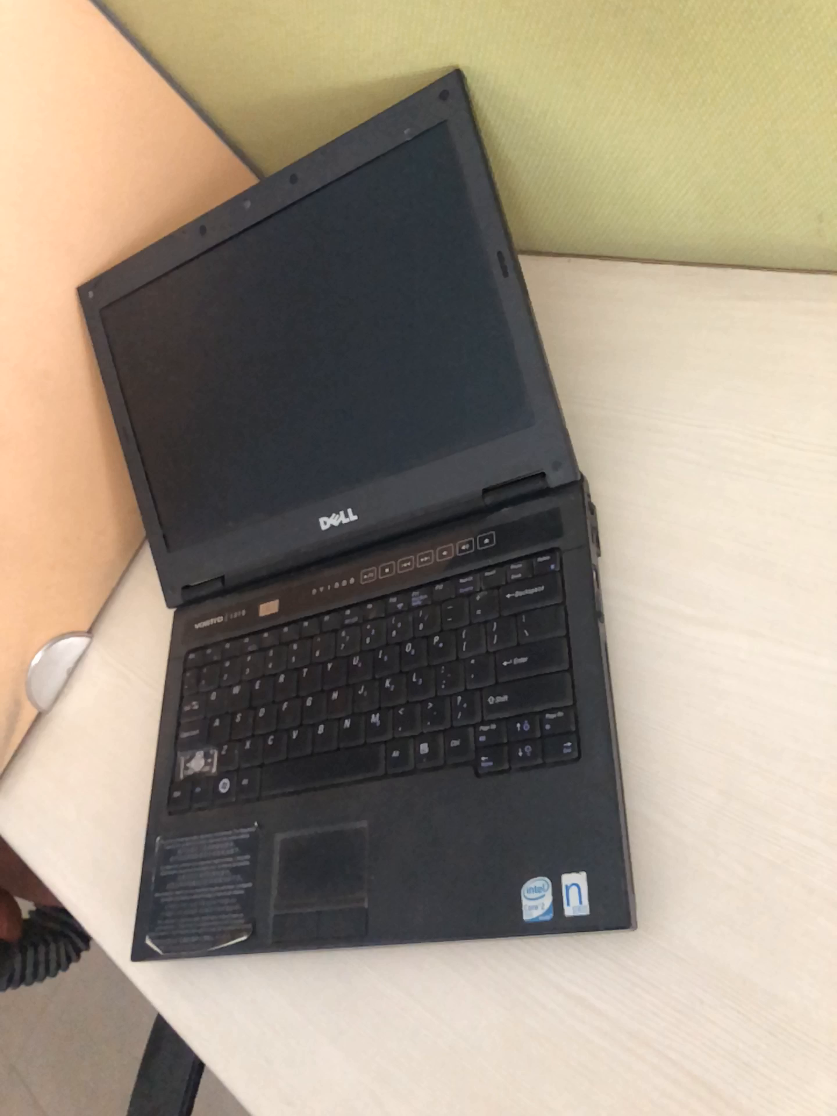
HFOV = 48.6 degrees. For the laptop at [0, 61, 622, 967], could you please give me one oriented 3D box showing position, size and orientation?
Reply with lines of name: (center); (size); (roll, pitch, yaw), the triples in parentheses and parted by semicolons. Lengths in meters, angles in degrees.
laptop: (-0.076, -0.017, 0.529); (0.306, 0.125, 0.431); (-17, 58, 28)
